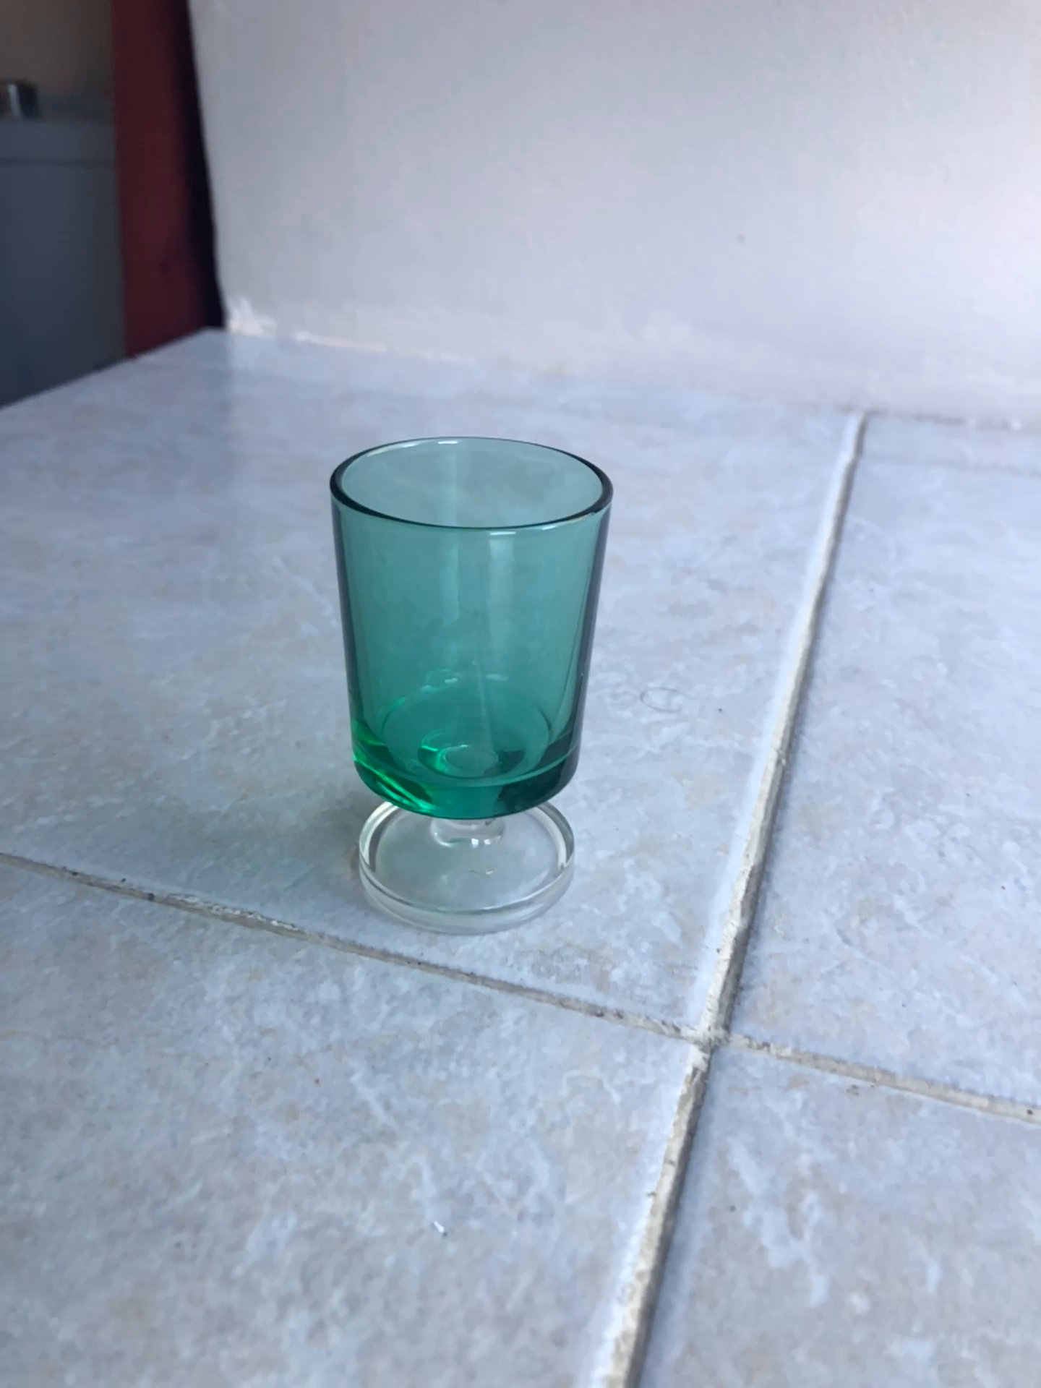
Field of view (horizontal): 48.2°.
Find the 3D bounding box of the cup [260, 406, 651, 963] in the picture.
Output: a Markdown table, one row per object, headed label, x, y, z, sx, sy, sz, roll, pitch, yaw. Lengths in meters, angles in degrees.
| label | x | y | z | sx | sy | sz | roll | pitch | yaw |
| --- | --- | --- | --- | --- | --- | --- | --- | --- | --- |
| cup | -0.011 | -0.004 | 0.182 | 0.044 | 0.068 | 0.045 | 0 | 28 | 0 |
